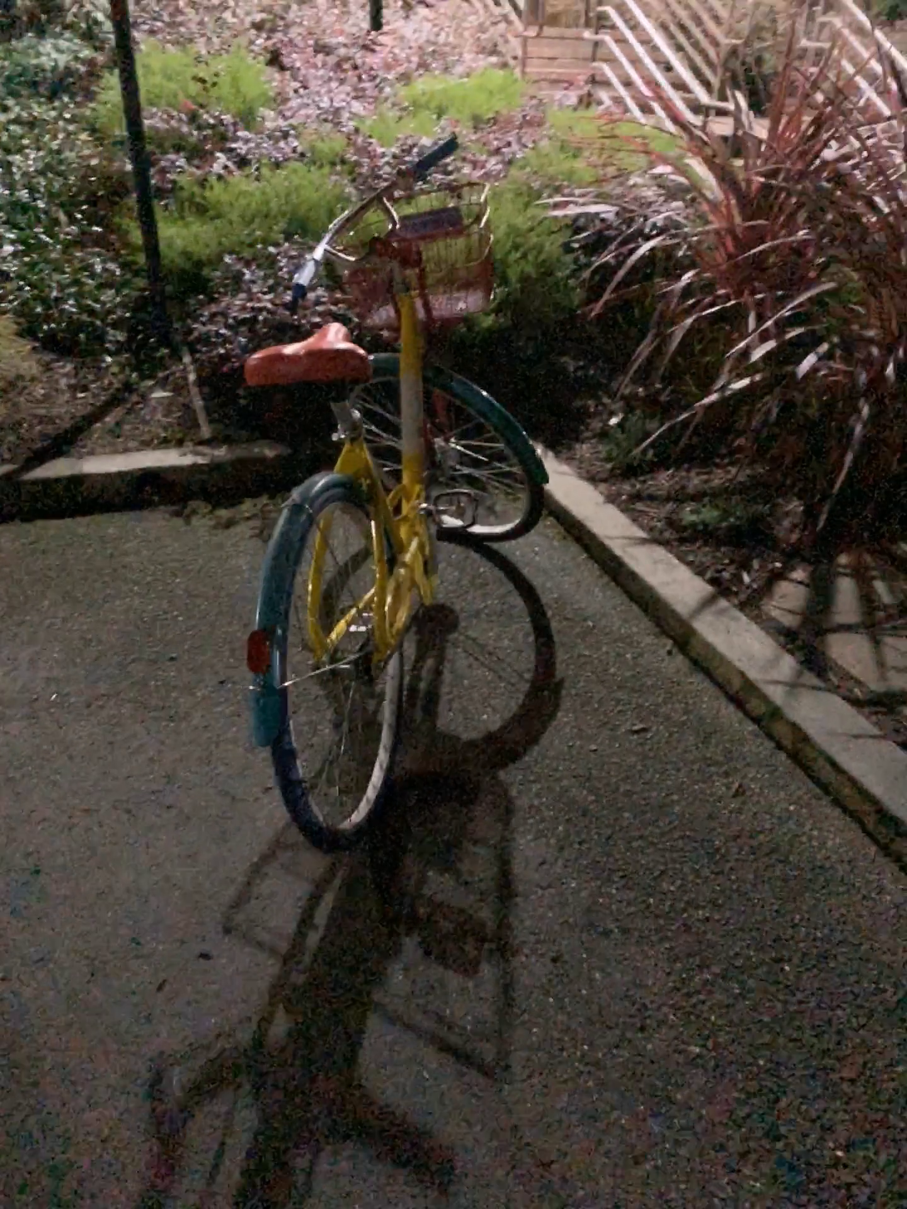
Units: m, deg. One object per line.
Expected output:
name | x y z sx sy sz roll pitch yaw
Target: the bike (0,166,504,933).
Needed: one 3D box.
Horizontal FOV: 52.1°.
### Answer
bike | -0.242 -0.297 1.974 0.599 1.085 1.592 2 28 0
